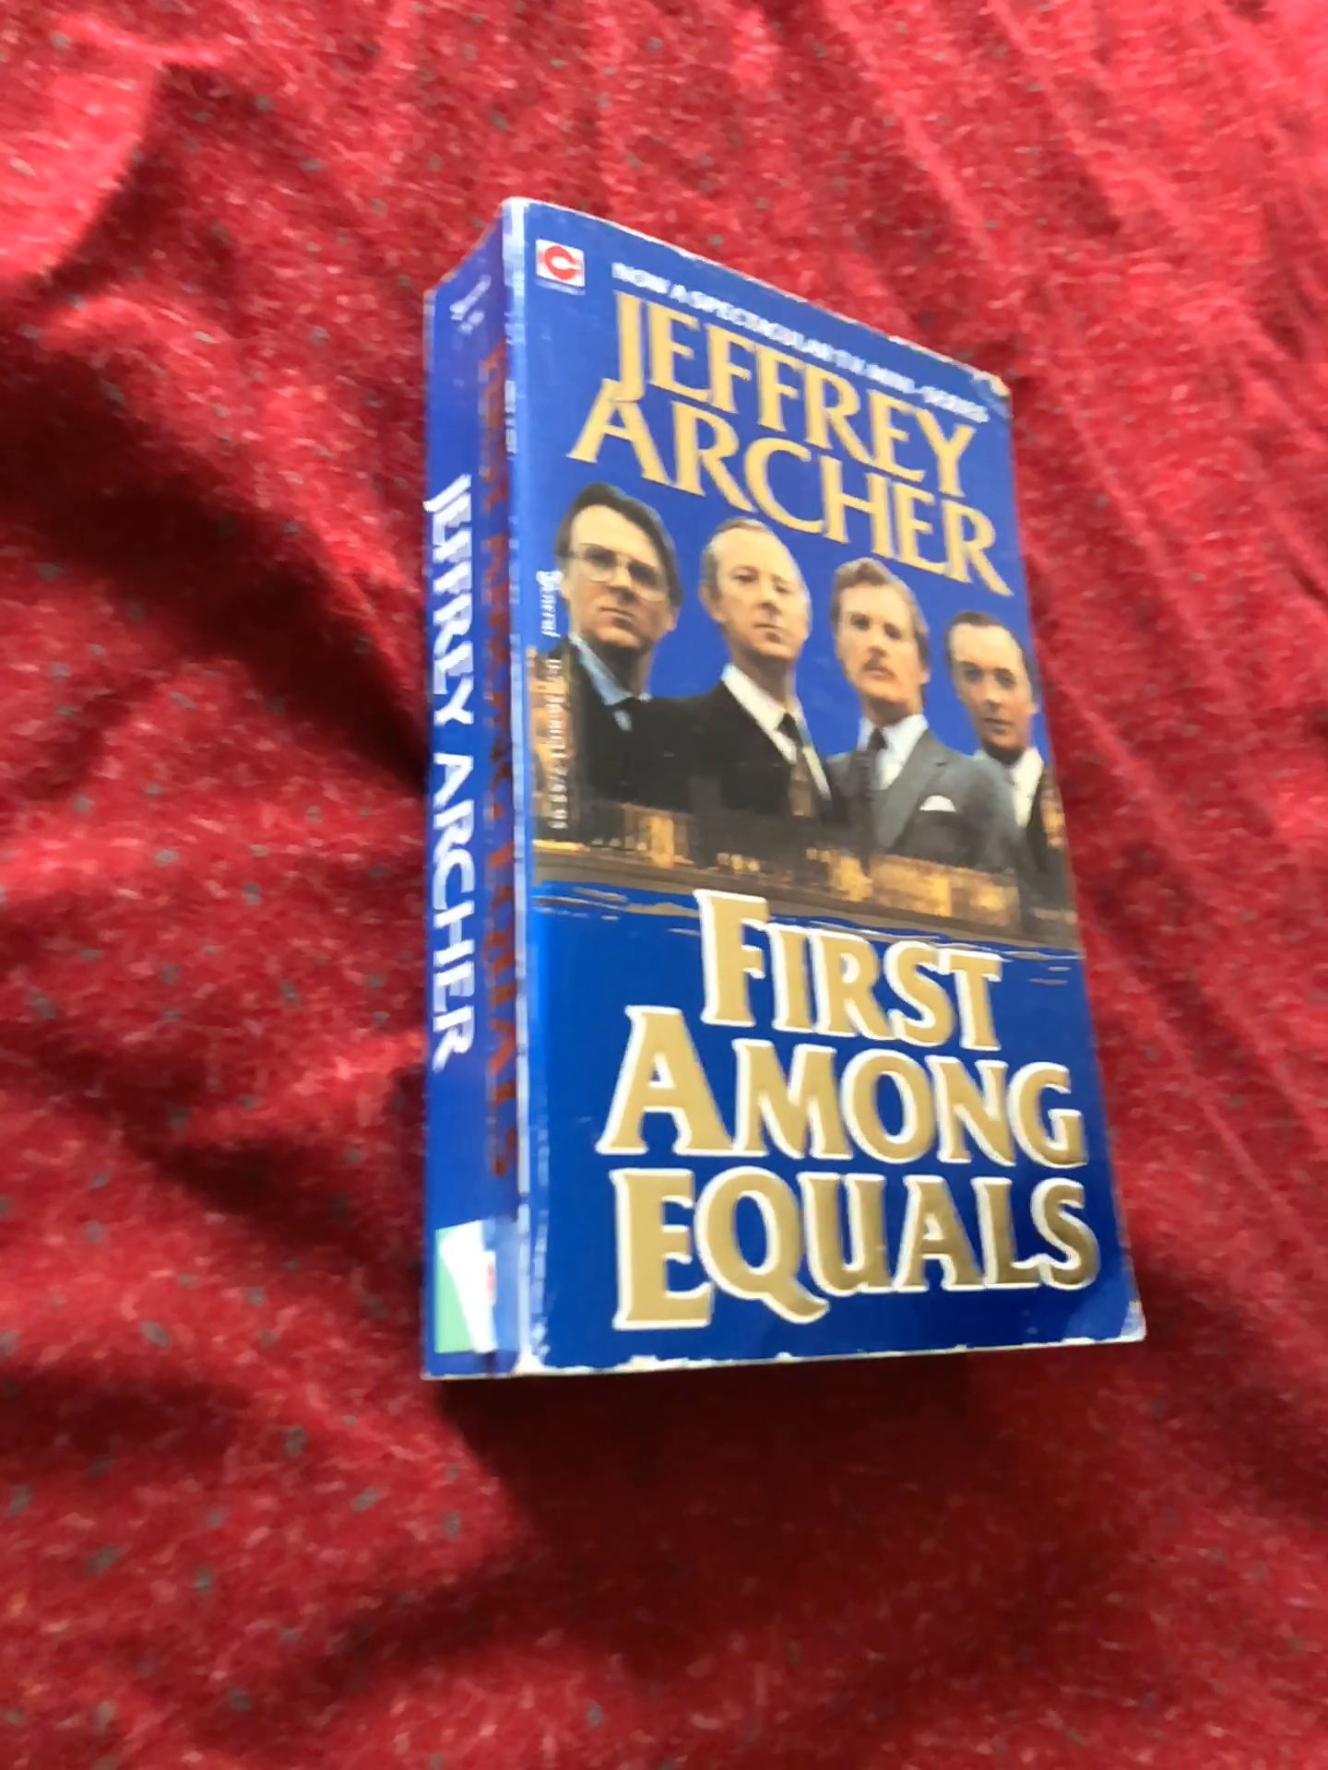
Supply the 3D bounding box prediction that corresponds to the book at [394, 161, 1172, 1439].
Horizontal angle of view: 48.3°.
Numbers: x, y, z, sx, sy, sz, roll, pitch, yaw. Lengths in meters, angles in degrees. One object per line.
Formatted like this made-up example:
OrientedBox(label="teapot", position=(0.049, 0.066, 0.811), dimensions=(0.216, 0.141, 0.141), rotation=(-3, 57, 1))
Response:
OrientedBox(label="book", position=(0.016, -0.010, 0.237), dimensions=(0.110, 0.038, 0.177), rotation=(9, 69, -33))
